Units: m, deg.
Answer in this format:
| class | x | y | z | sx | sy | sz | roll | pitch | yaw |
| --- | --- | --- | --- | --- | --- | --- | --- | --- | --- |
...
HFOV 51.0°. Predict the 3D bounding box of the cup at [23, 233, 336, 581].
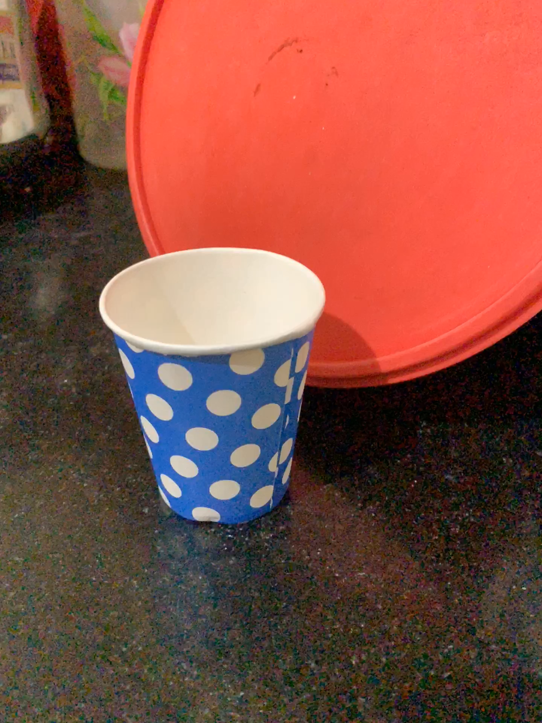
| class | x | y | z | sx | sy | sz | roll | pitch | yaw |
| --- | --- | --- | --- | --- | --- | --- | --- | --- | --- |
| cup | -0.024 | 0.011 | 0.195 | 0.070 | 0.079 | 0.070 | 1 | 33 | -1 |
